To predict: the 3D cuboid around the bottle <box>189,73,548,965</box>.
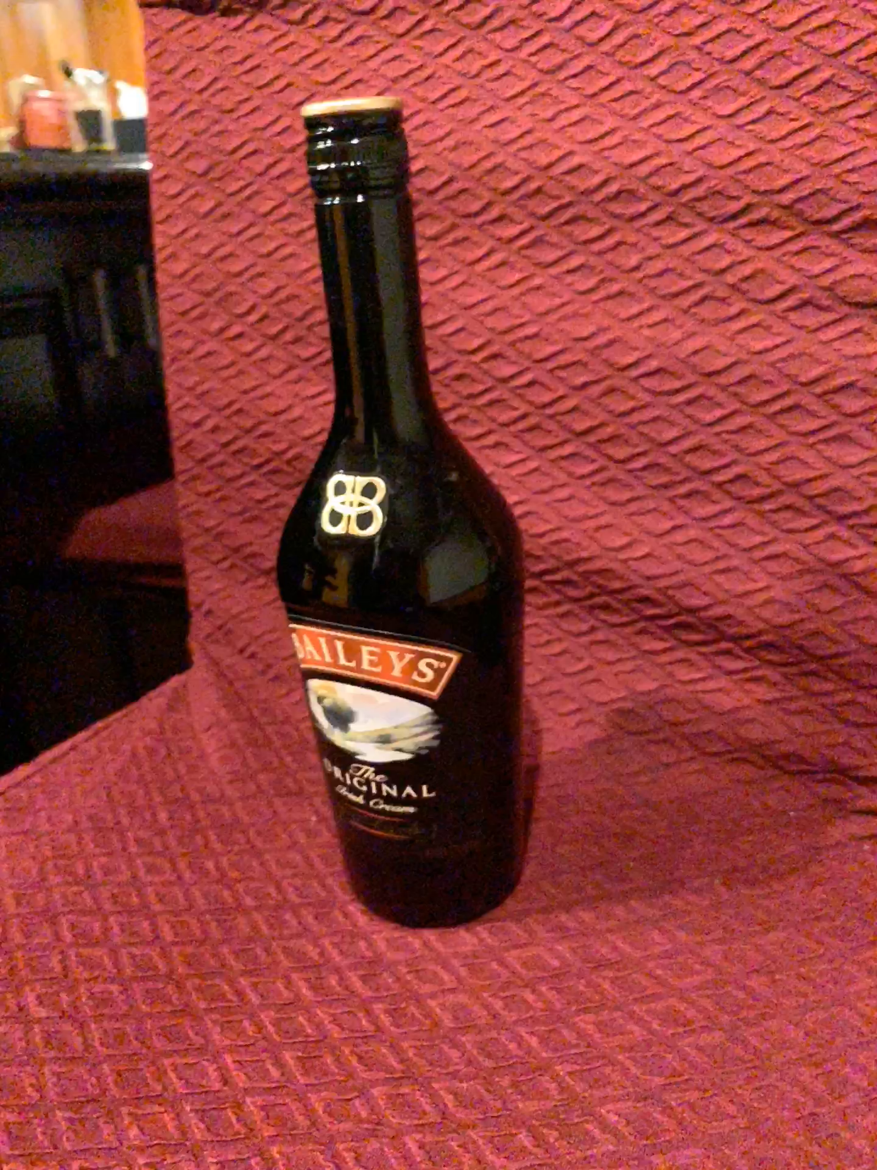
[{"bbox_3d":[-0.012,-0.012,0.329,0.080,0.289,0.070,7,24,26],"label":"bottle"}]
